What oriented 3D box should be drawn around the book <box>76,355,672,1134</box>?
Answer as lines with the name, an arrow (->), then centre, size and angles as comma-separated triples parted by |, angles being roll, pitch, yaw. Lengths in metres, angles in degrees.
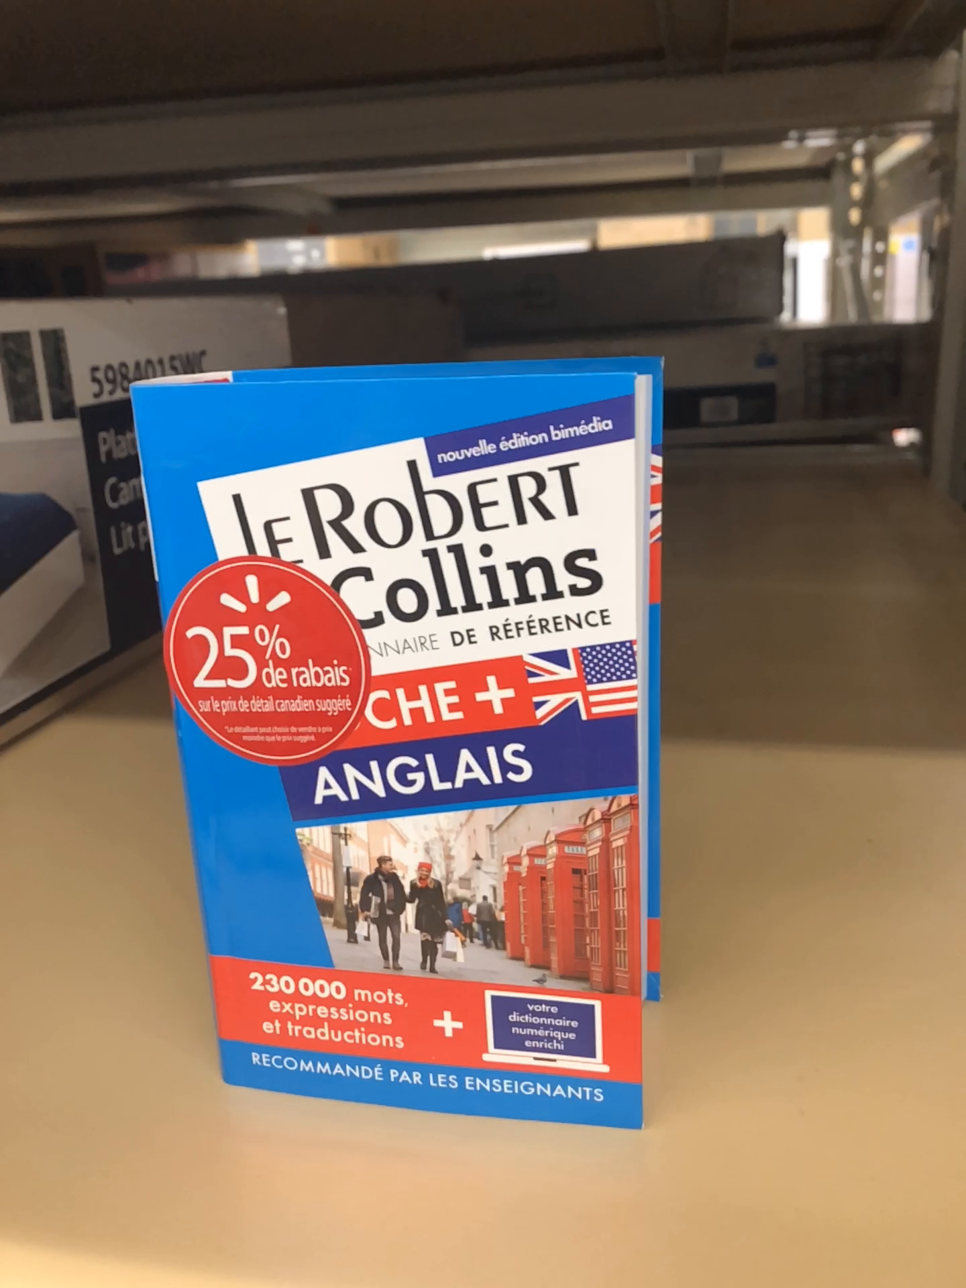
book -> -0.016, 0.022, 0.266 | 0.121, 0.173, 0.059 | 1, 18, 12
